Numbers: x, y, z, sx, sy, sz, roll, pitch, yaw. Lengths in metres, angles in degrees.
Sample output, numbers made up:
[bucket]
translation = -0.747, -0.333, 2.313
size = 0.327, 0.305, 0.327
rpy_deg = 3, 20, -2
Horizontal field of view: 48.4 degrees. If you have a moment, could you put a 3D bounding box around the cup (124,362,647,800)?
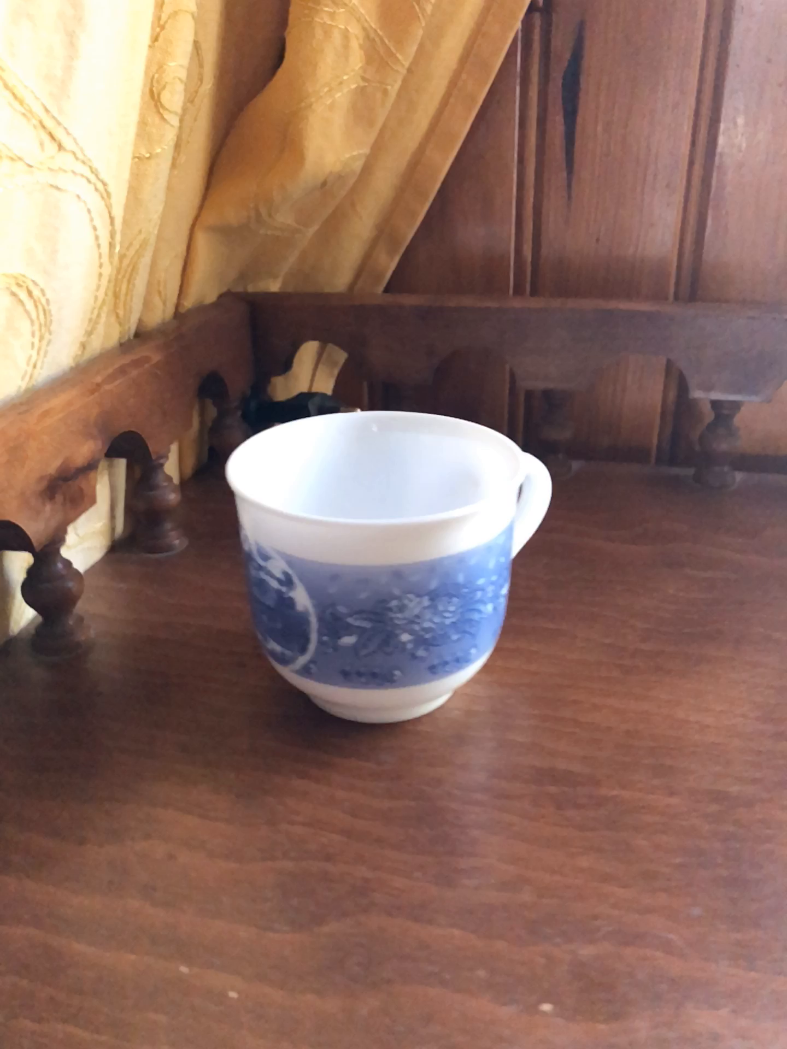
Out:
[cup]
translation = -0.002, 0.004, 0.227
size = 0.100, 0.060, 0.080
rpy_deg = -18, 30, -32
